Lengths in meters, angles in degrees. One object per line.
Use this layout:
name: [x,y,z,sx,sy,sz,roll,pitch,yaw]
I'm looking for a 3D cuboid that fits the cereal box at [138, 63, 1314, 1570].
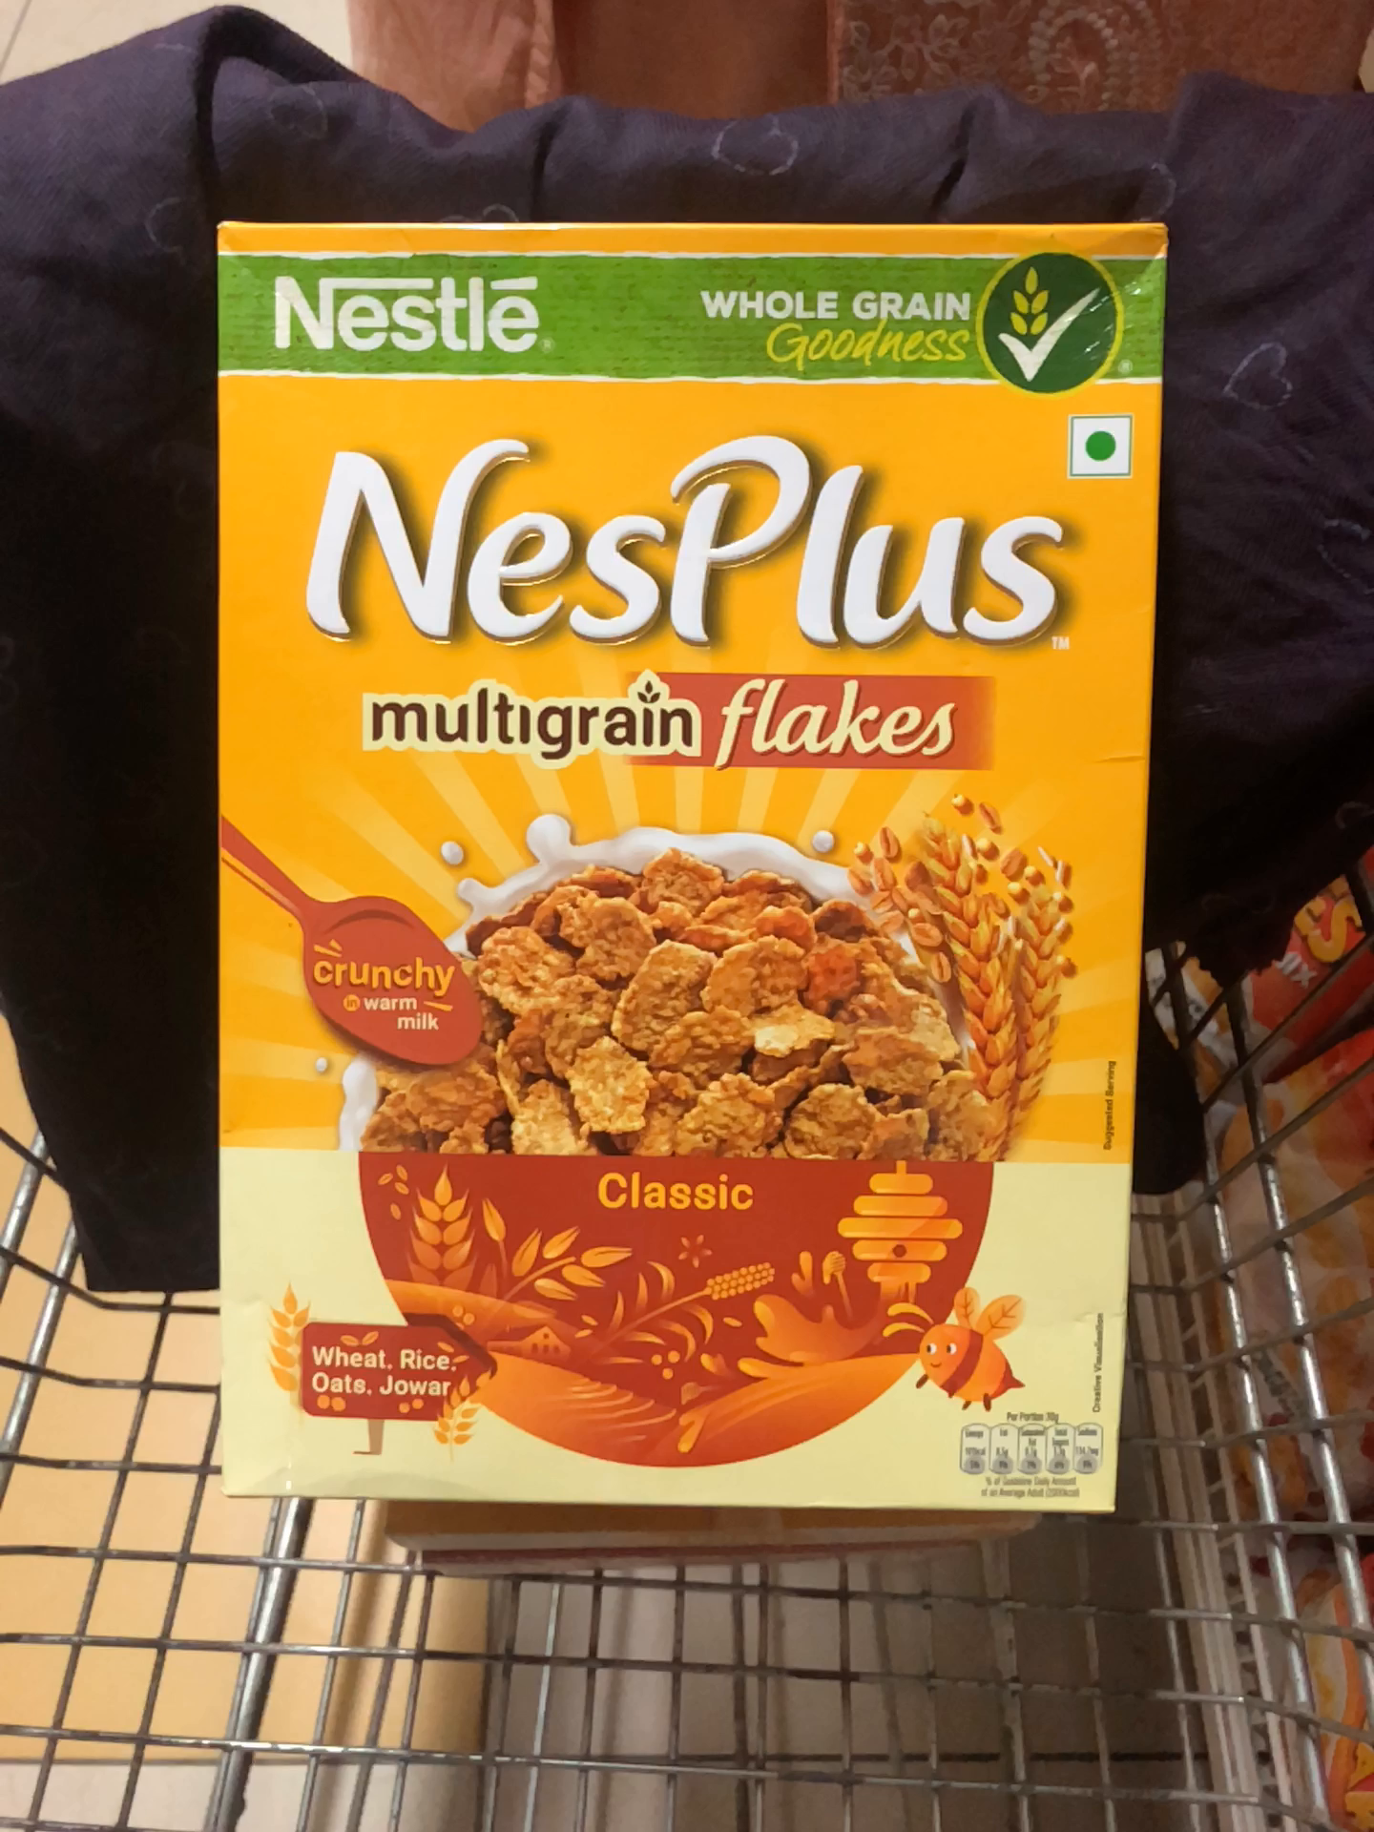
cereal box: [0.003,-0.012,0.306,0.190,0.080,0.260,1,99,-3]
